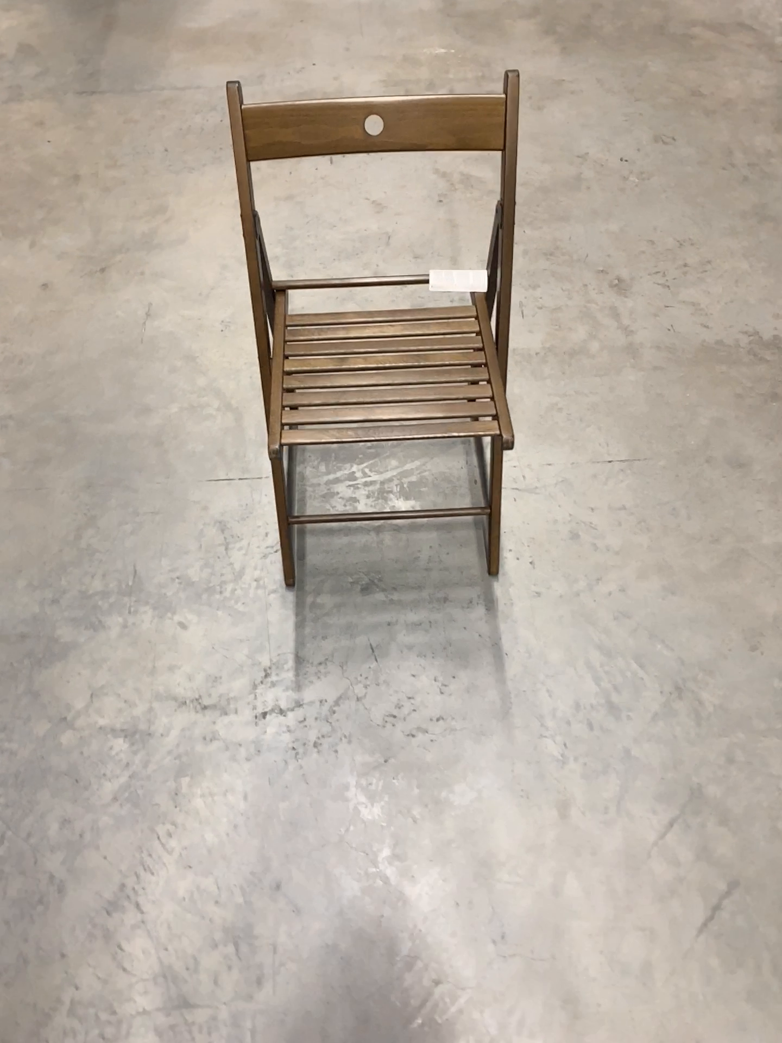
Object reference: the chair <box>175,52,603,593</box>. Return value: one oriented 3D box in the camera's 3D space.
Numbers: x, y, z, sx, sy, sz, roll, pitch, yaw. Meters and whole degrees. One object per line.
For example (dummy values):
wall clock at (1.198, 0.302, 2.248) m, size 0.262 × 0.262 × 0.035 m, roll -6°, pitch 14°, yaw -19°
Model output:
chair at (-0.010, -0.278, 1.318) m, size 0.480 × 0.698 × 0.501 m, roll -3°, pitch 58°, yaw -1°
